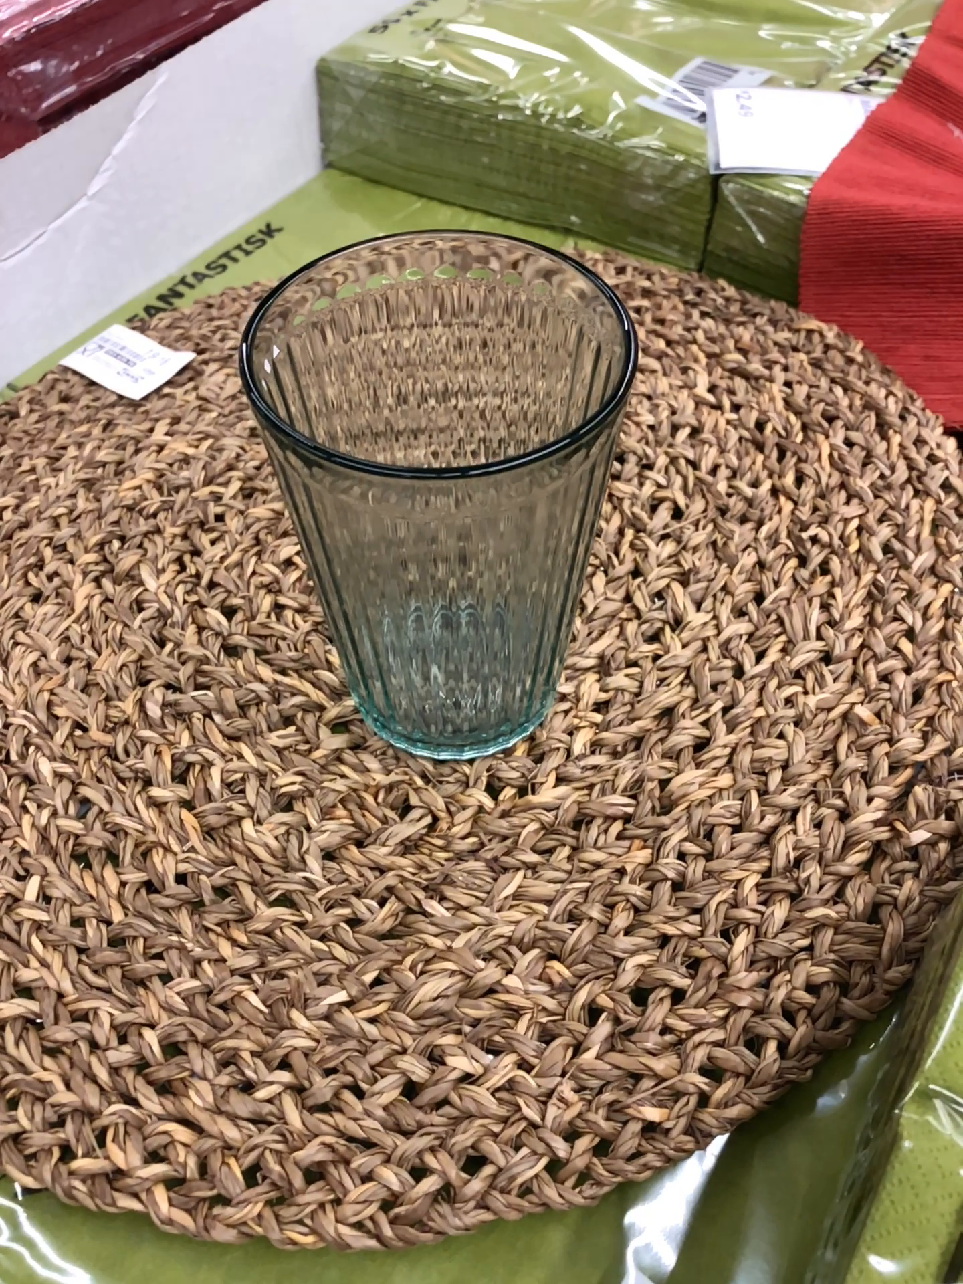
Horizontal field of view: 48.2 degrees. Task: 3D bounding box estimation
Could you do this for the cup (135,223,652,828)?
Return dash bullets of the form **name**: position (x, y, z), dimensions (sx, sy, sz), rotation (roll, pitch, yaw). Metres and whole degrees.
- **cup**: position (-0.009, -0.025, 0.241), dimensions (0.080, 0.100, 0.080), rotation (-3, 49, 3)
